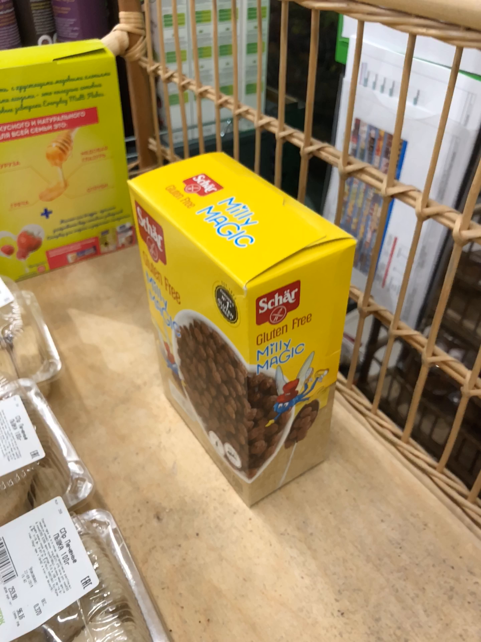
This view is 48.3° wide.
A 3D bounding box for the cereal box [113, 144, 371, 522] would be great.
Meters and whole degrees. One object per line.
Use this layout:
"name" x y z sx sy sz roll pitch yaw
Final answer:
"cereal box" -0.005 0.009 0.390 0.080 0.209 0.161 -24 46 -23
